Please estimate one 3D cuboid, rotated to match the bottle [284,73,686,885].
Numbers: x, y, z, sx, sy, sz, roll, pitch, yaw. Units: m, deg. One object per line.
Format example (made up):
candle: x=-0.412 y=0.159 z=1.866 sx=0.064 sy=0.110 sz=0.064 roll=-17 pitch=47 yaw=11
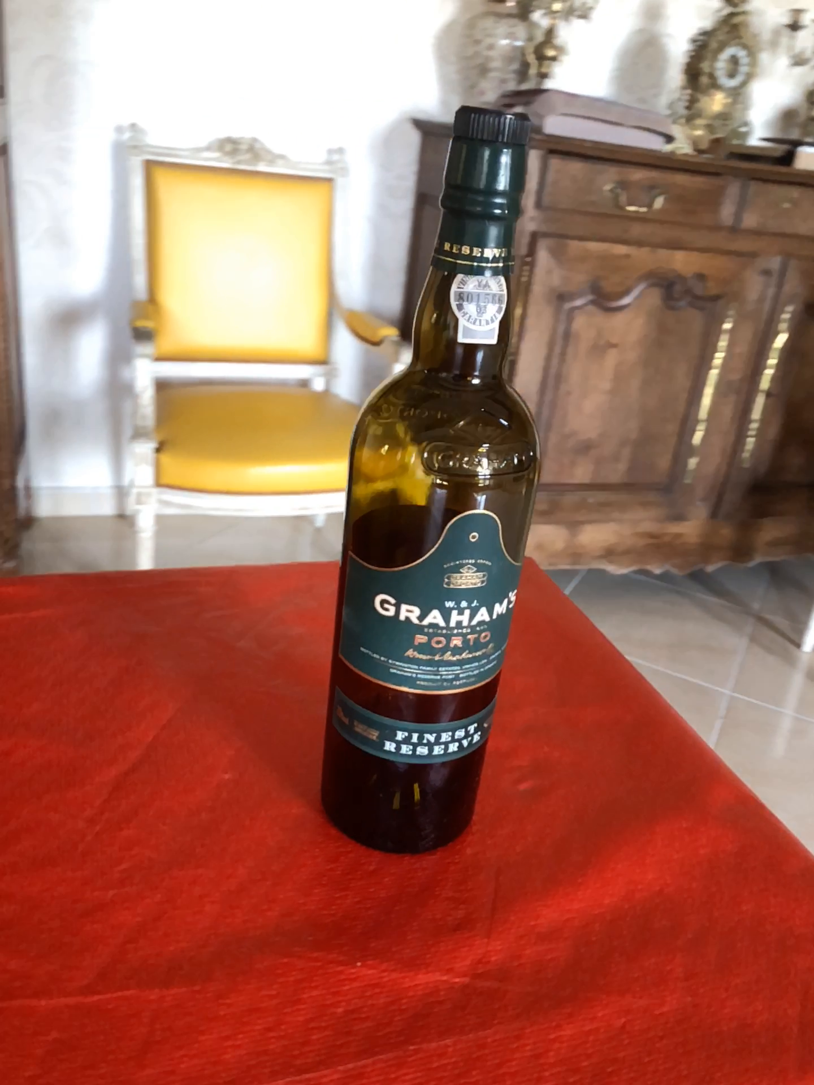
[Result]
bottle: x=0.012 y=-0.015 z=0.361 sx=0.090 sy=0.298 sz=0.090 roll=6 pitch=24 yaw=-3
